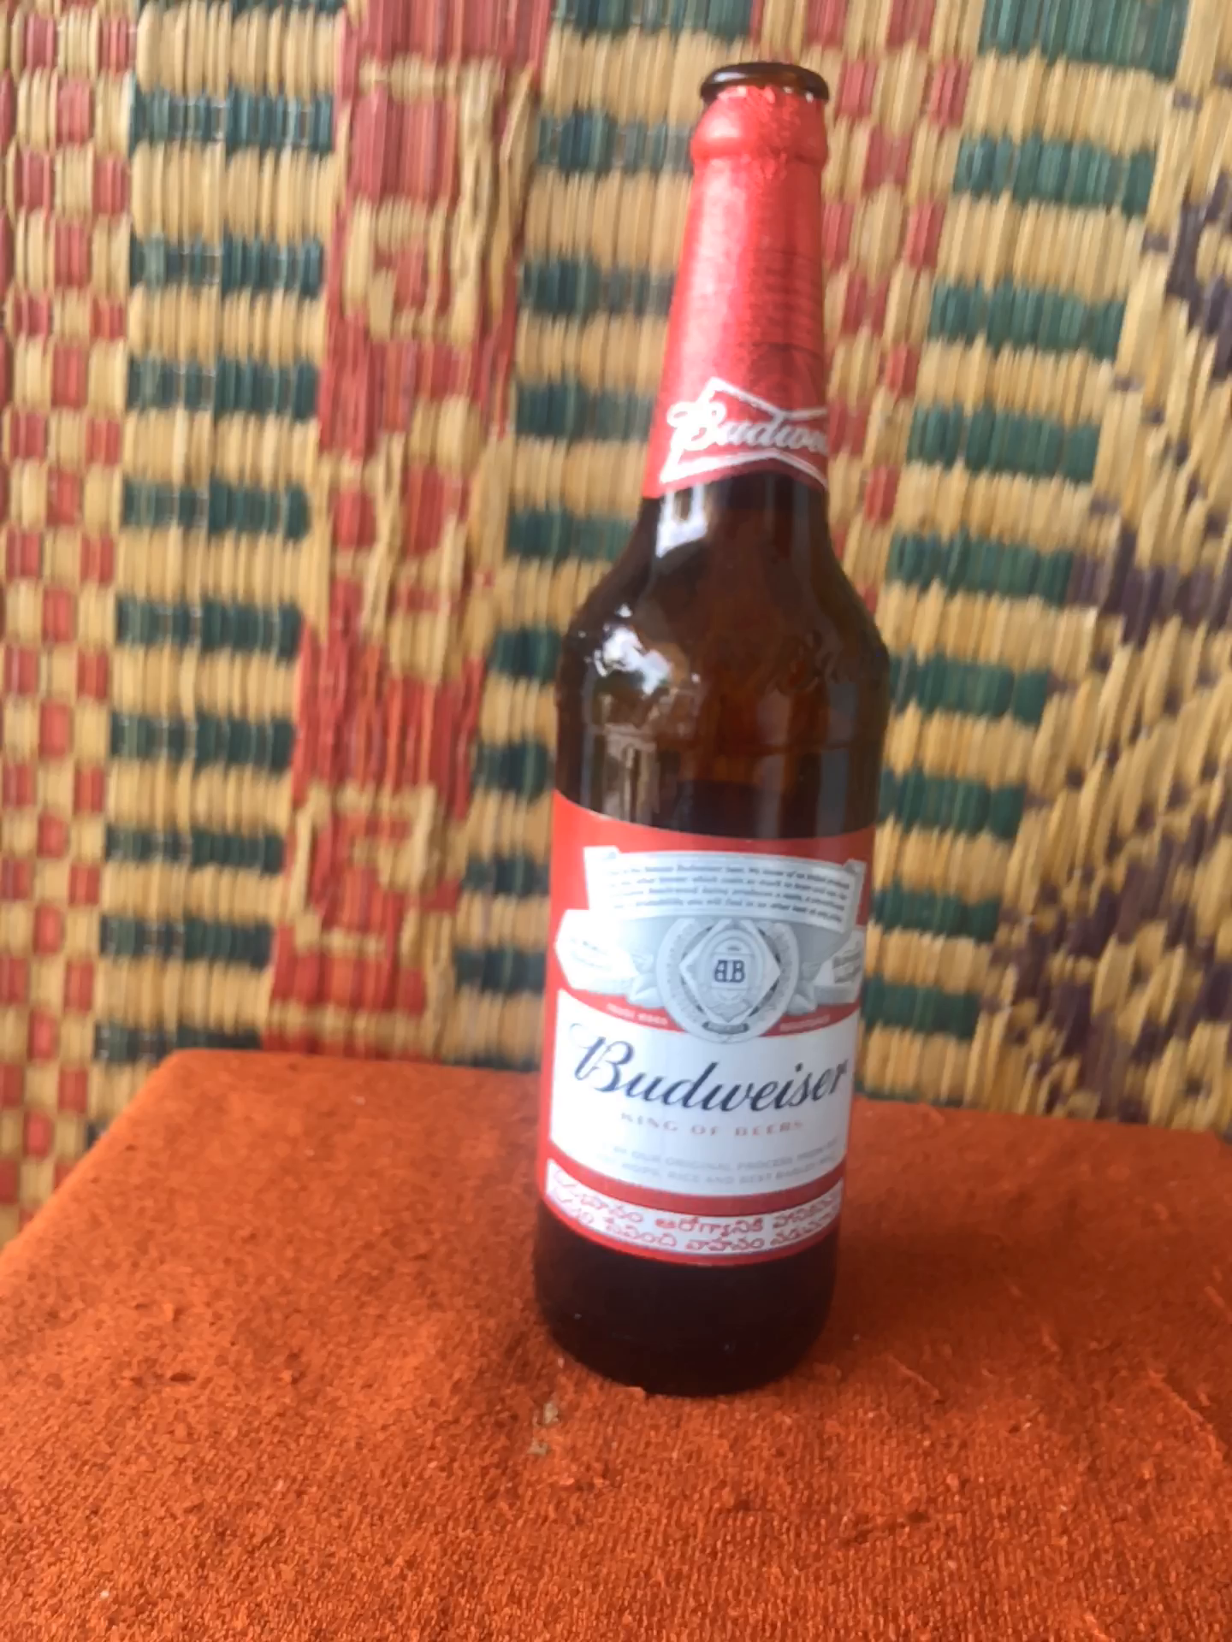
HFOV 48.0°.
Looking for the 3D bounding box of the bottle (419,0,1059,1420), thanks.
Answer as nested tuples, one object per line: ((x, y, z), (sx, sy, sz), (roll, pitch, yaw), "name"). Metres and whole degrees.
((0.015, -0.014, 0.283), (0.090, 0.259, 0.070), (4, 16, -1), "bottle")
